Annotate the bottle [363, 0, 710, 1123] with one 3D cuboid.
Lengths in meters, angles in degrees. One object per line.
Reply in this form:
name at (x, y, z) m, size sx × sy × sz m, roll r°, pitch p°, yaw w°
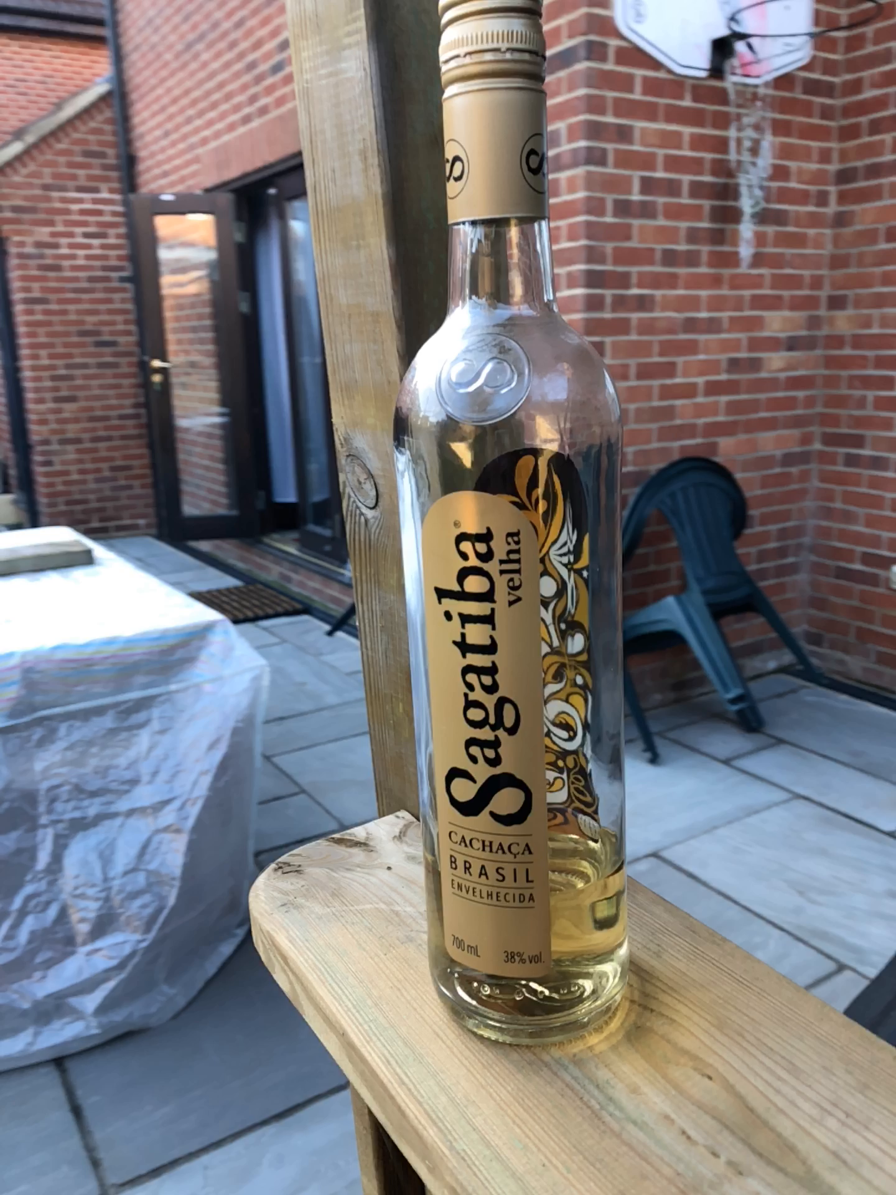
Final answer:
bottle at (0.030, -0.008, 0.313) m, size 0.080 × 0.329 × 0.060 m, roll 5°, pitch 15°, yaw 26°
